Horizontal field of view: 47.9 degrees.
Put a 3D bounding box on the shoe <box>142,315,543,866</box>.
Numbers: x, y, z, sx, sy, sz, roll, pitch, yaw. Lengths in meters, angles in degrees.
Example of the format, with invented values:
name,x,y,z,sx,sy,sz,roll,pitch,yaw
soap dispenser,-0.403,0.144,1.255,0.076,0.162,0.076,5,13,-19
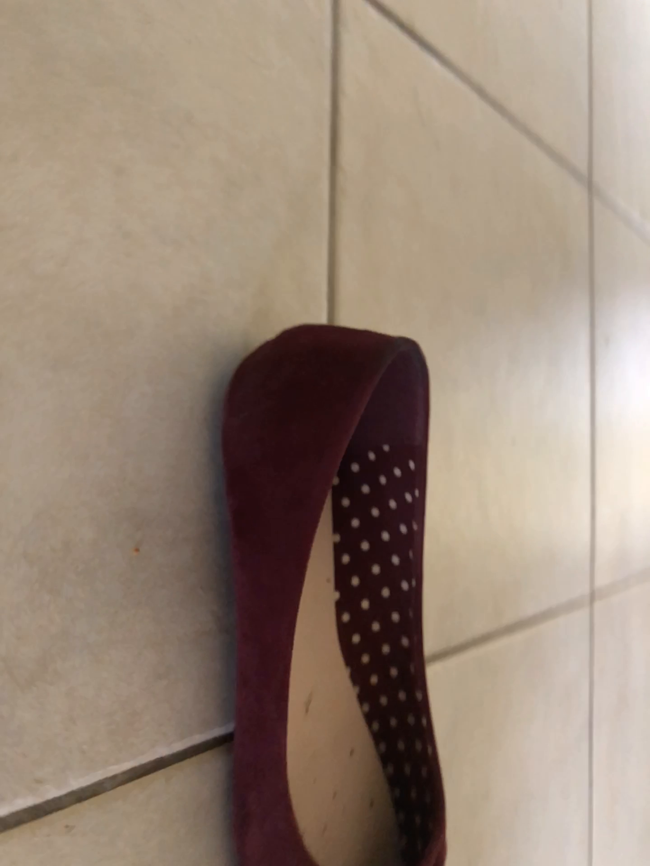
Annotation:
name,x,y,z,sx,sy,sz,roll,pitch,yaw
shoe,0.011,0.090,0.259,0.082,0.079,0.251,-13,99,-46
